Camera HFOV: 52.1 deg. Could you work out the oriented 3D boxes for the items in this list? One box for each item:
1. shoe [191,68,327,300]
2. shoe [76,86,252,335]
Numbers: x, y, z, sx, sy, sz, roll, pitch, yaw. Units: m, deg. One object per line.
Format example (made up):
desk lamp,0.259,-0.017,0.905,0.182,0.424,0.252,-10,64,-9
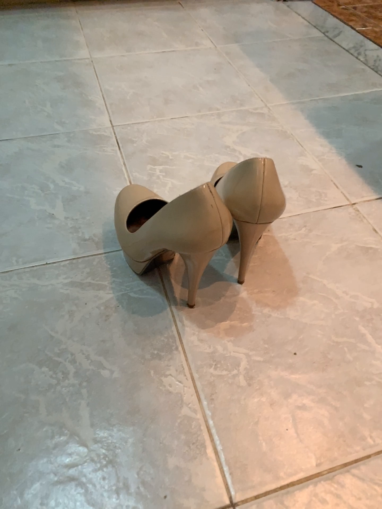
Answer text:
shoe,0.058,-0.087,0.464,0.087,0.176,0.211,-3,48,-6
shoe,-0.039,-0.053,0.433,0.087,0.166,0.211,-20,52,-20
